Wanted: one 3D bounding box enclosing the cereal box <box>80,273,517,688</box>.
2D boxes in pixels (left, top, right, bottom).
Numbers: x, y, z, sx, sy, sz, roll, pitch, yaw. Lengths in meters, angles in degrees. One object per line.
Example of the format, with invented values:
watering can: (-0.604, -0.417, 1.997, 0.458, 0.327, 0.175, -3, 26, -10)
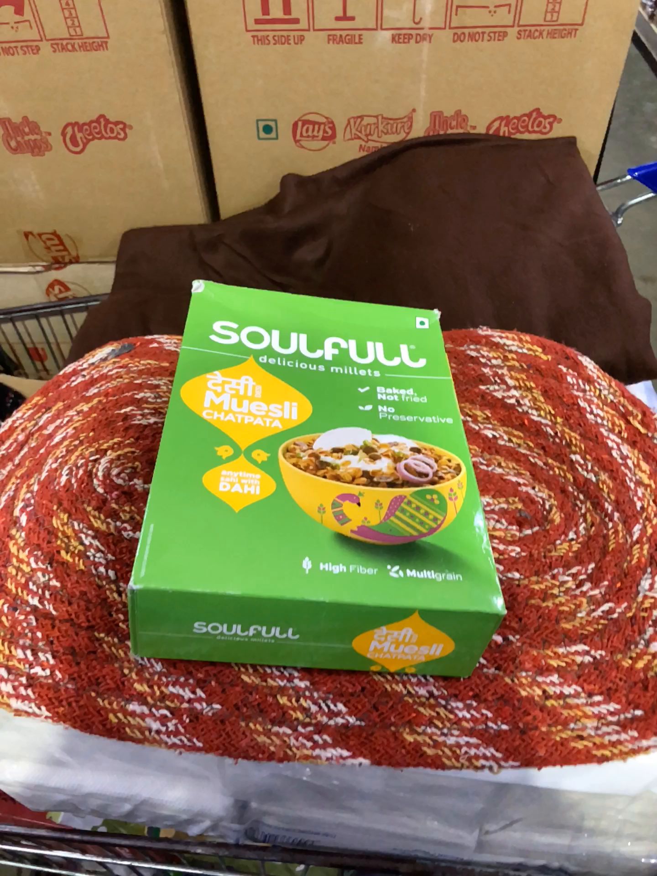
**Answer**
cereal box: (-0.014, 0.004, 0.394, 0.170, 0.060, 0.241, 5, 40, -5)
